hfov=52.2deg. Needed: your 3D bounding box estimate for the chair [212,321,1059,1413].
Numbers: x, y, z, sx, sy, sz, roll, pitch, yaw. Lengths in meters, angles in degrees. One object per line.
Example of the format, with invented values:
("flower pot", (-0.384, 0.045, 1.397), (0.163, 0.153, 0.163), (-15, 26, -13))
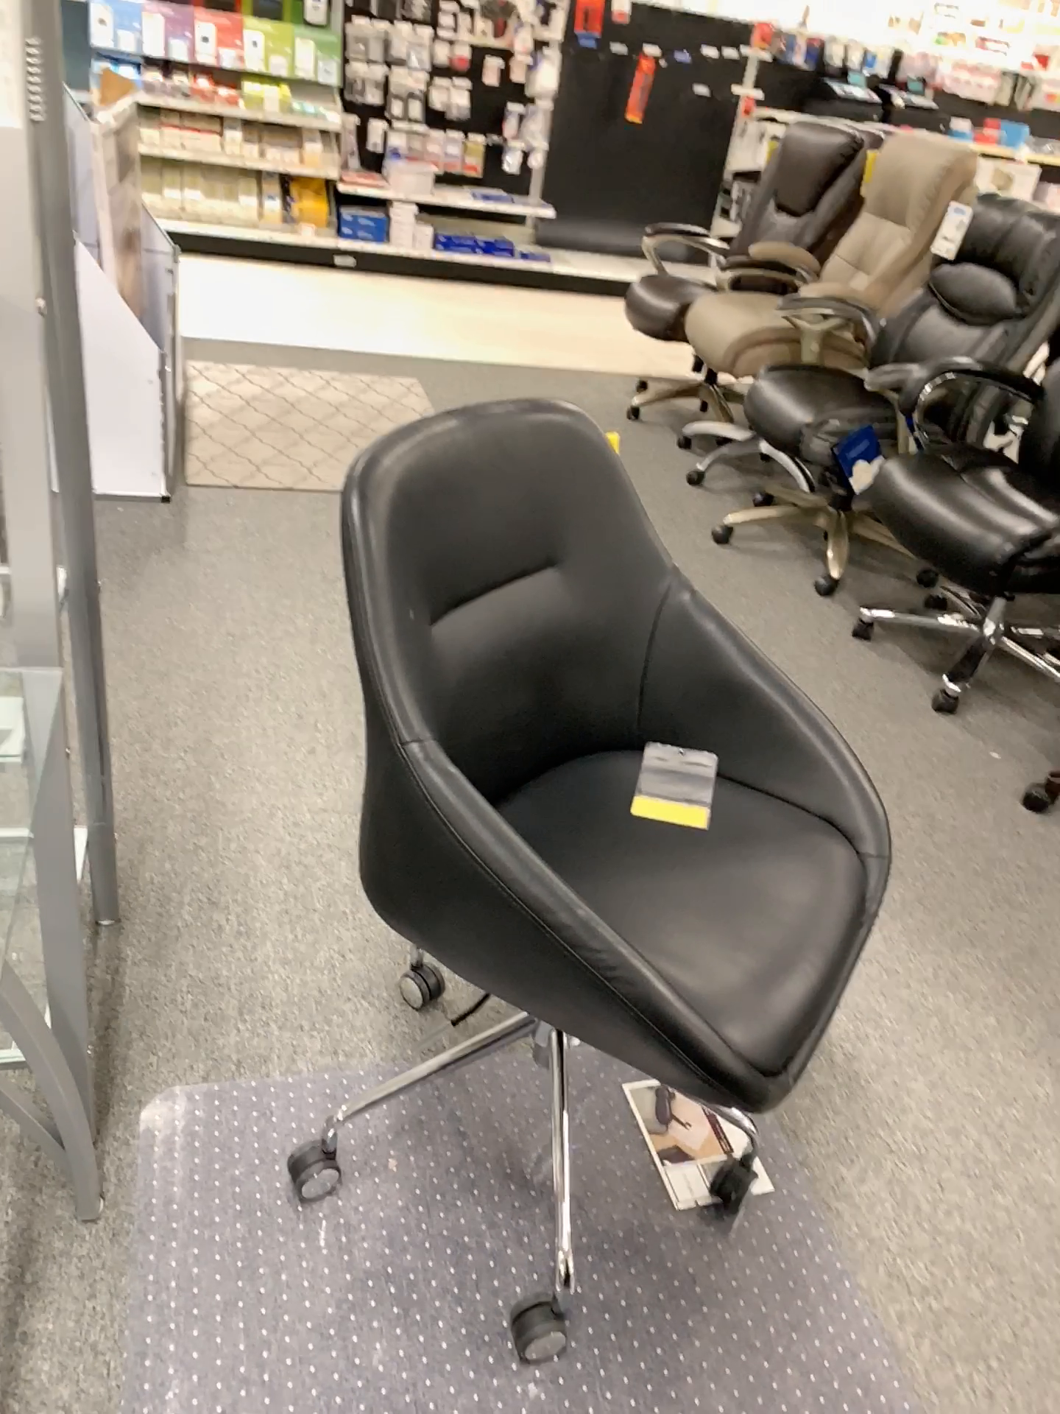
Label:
("chair", (0.123, 0.142, 1.210), (0.621, 0.885, 0.673), (24, 34, 21))
